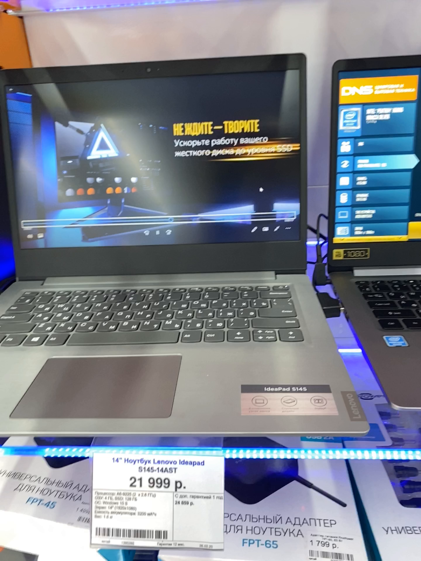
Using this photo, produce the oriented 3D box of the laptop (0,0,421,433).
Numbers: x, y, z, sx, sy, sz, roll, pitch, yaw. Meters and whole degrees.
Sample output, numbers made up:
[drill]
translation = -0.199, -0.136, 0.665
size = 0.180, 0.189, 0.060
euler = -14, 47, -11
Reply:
[laptop]
translation = -0.067, -0.069, 0.359
size = 0.327, 0.215, 0.304
euler = -2, 24, 4
